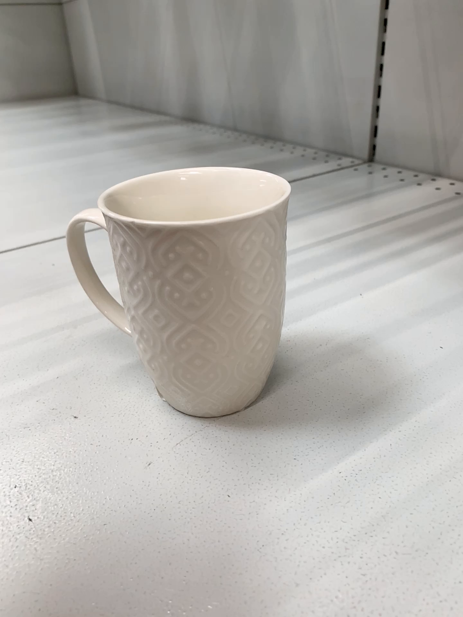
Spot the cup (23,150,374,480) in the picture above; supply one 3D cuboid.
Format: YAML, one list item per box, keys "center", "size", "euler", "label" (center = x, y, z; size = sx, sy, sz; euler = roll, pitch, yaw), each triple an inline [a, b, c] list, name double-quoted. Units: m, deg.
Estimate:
- center: [-0.017, -0.012, 0.238]
  size: [0.132, 0.098, 0.092]
  euler: [23, 39, 38]
  label: "cup"
